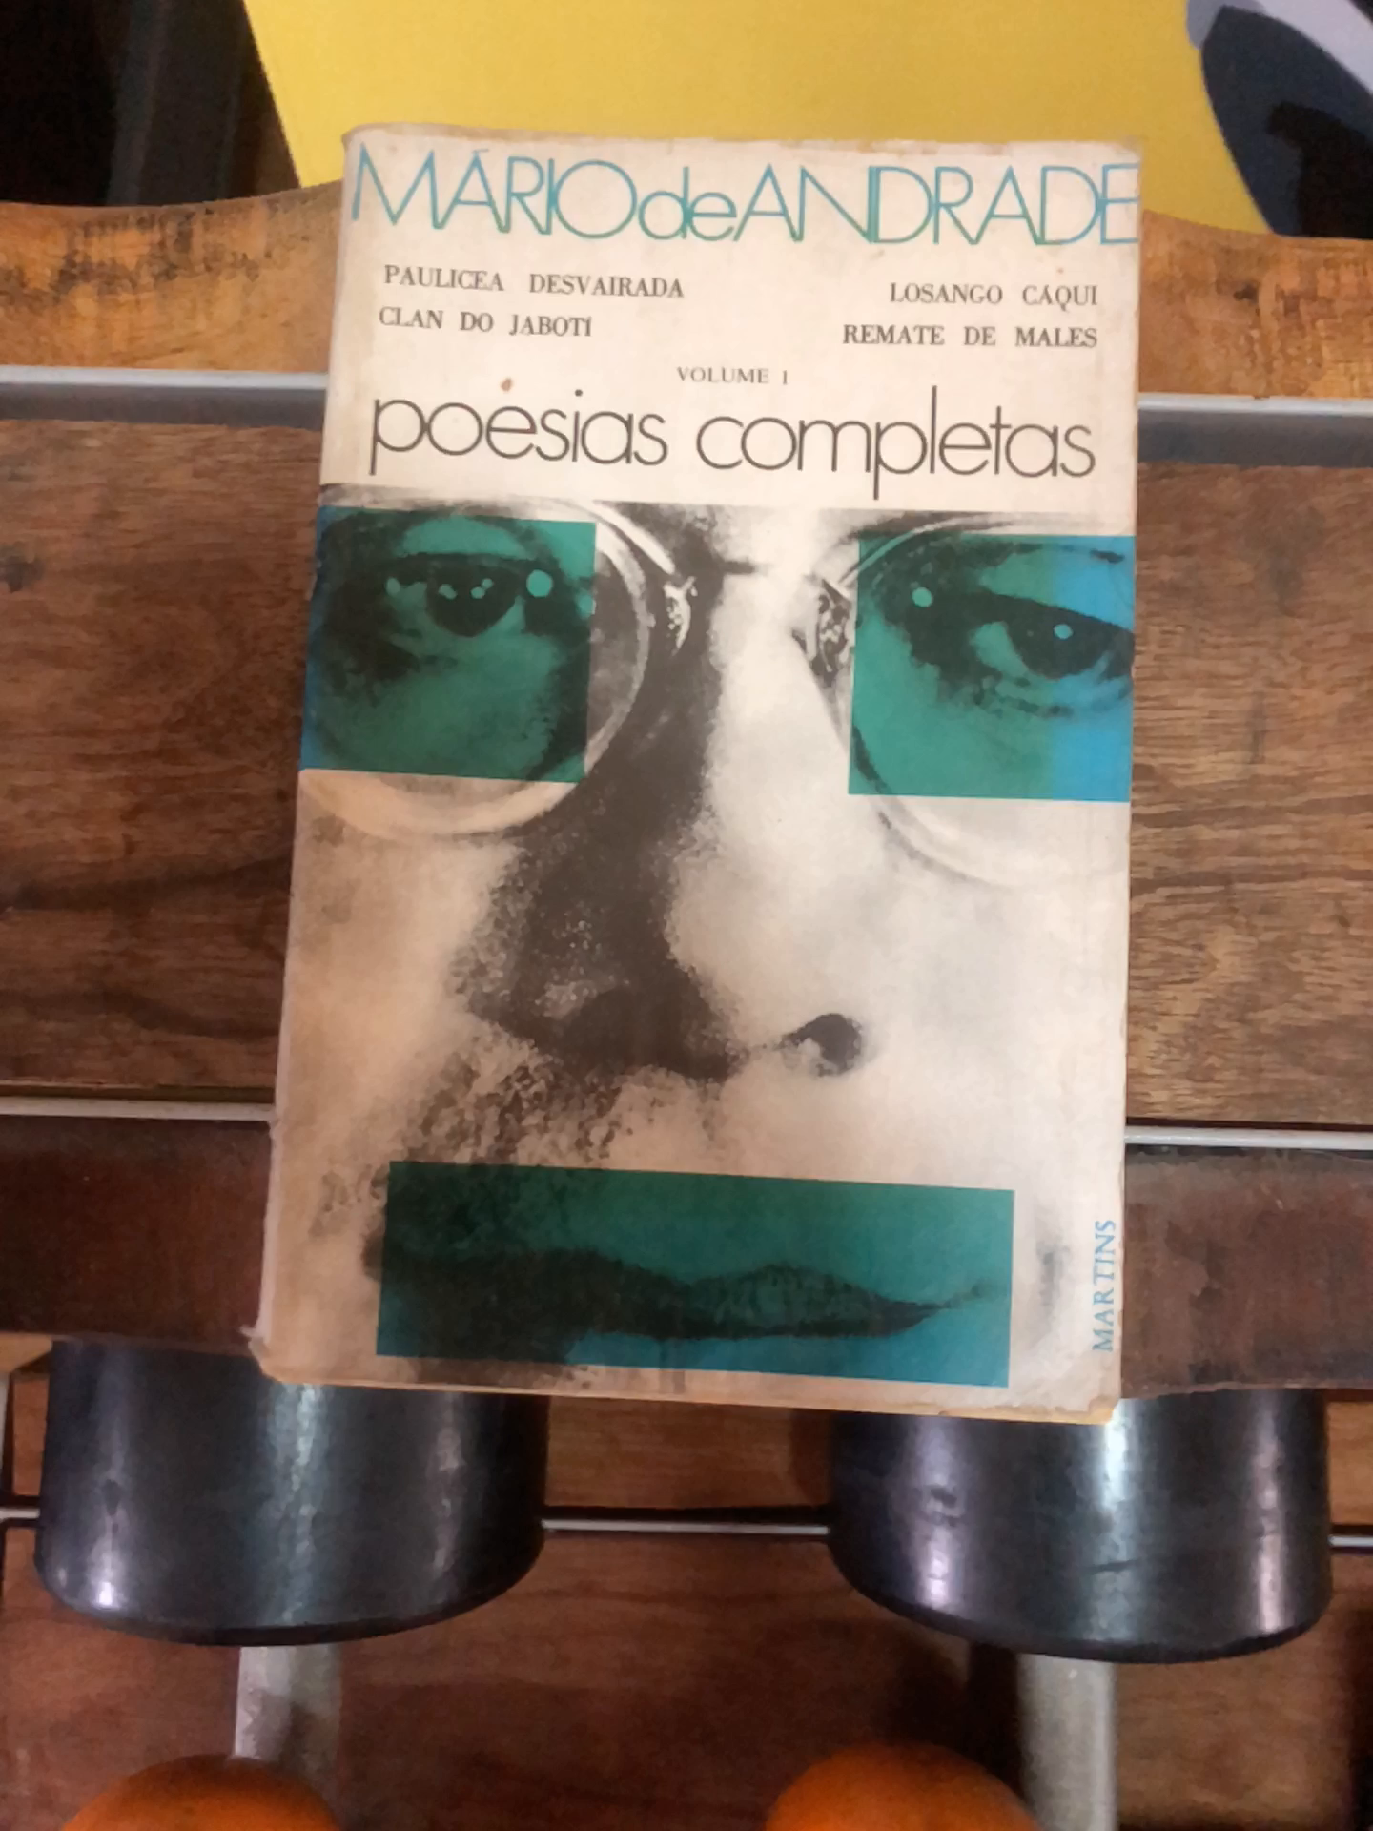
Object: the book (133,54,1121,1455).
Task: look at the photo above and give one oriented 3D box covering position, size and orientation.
[{"bbox_3d":[-0.007,-0.028,0.243,0.140,0.020,0.209,3,86,1],"label":"book"}]
